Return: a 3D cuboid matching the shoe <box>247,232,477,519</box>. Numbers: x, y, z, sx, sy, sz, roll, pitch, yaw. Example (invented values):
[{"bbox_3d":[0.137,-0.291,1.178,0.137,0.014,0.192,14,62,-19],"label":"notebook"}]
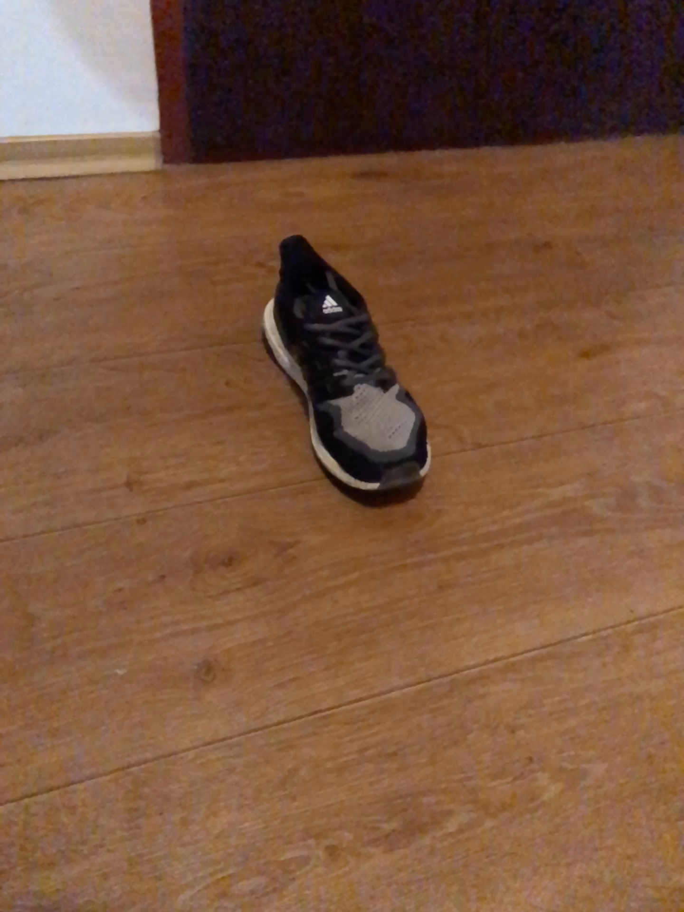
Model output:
[{"bbox_3d":[0.002,-0.087,0.690,0.113,0.099,0.271,-11,48,-17],"label":"shoe"}]
